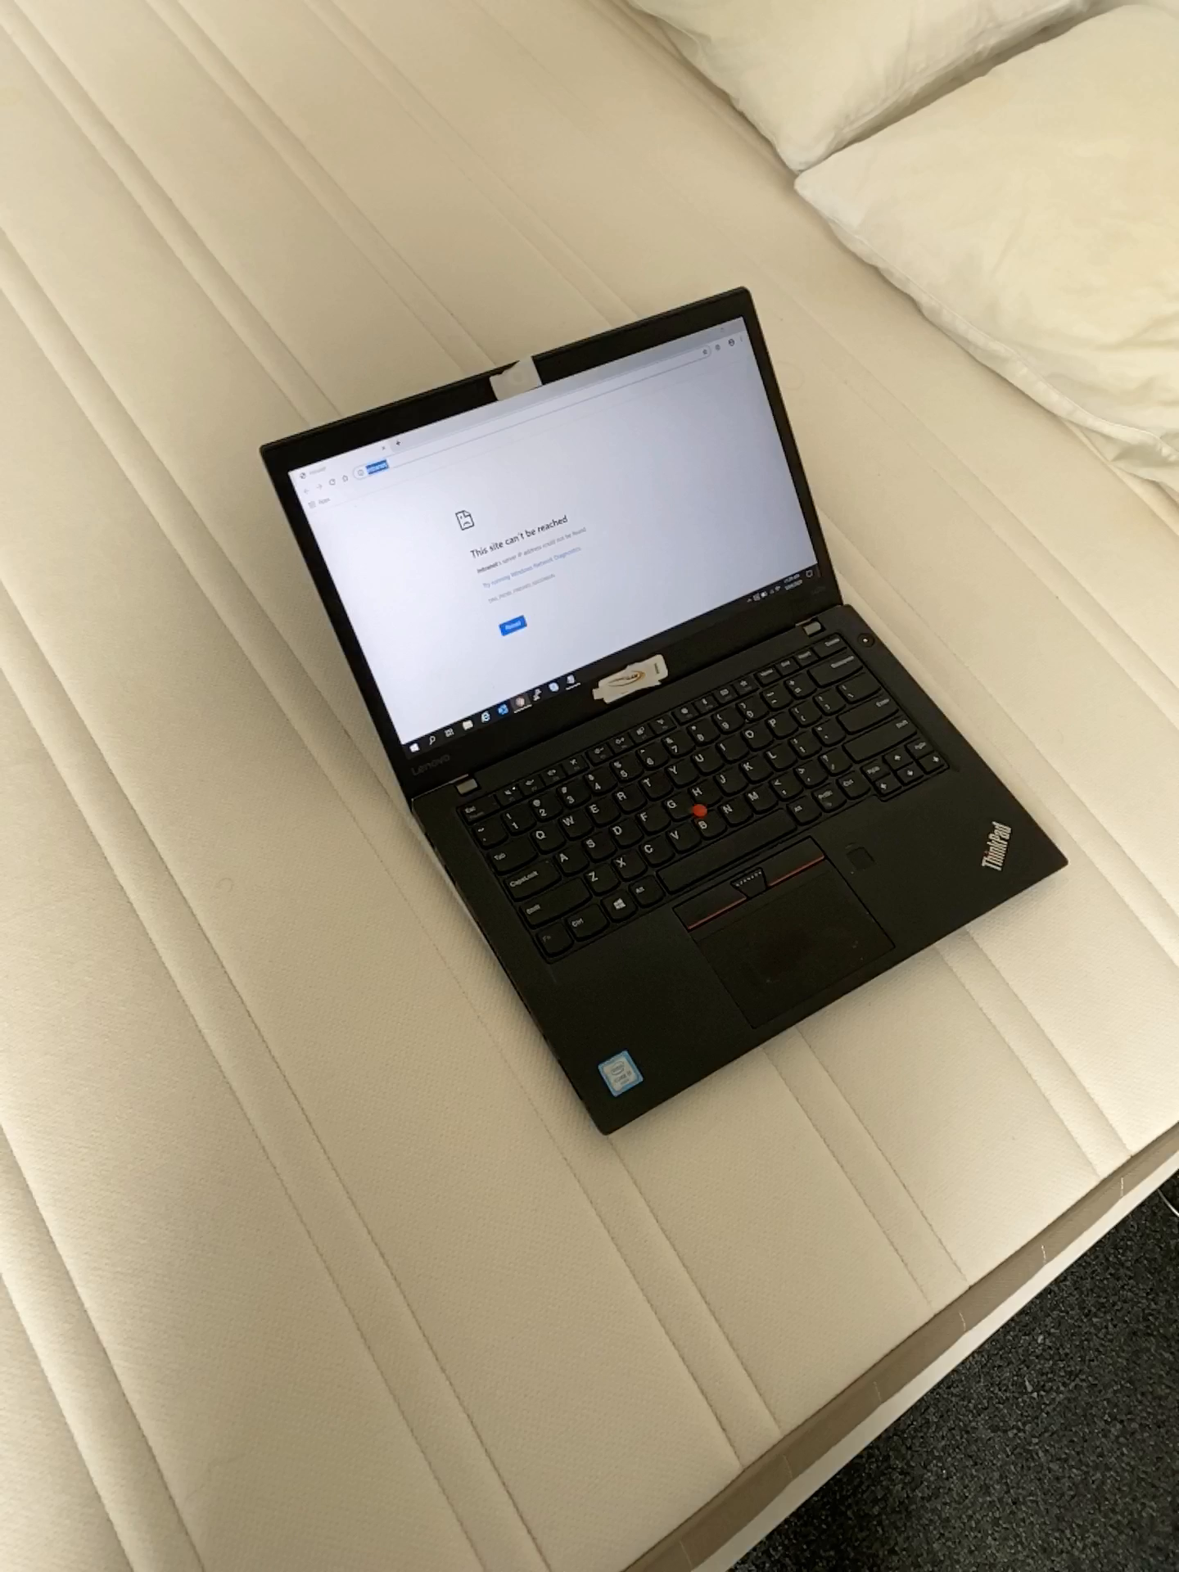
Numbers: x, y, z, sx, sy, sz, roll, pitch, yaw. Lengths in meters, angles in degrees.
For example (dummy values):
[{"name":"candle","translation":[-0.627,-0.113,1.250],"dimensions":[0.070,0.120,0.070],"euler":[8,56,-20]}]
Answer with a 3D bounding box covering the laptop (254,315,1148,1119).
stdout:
[{"name":"laptop","translation":[0.046,-0.067,0.688],"dimensions":[0.321,0.120,0.381],"euler":[-25,64,-21]}]
